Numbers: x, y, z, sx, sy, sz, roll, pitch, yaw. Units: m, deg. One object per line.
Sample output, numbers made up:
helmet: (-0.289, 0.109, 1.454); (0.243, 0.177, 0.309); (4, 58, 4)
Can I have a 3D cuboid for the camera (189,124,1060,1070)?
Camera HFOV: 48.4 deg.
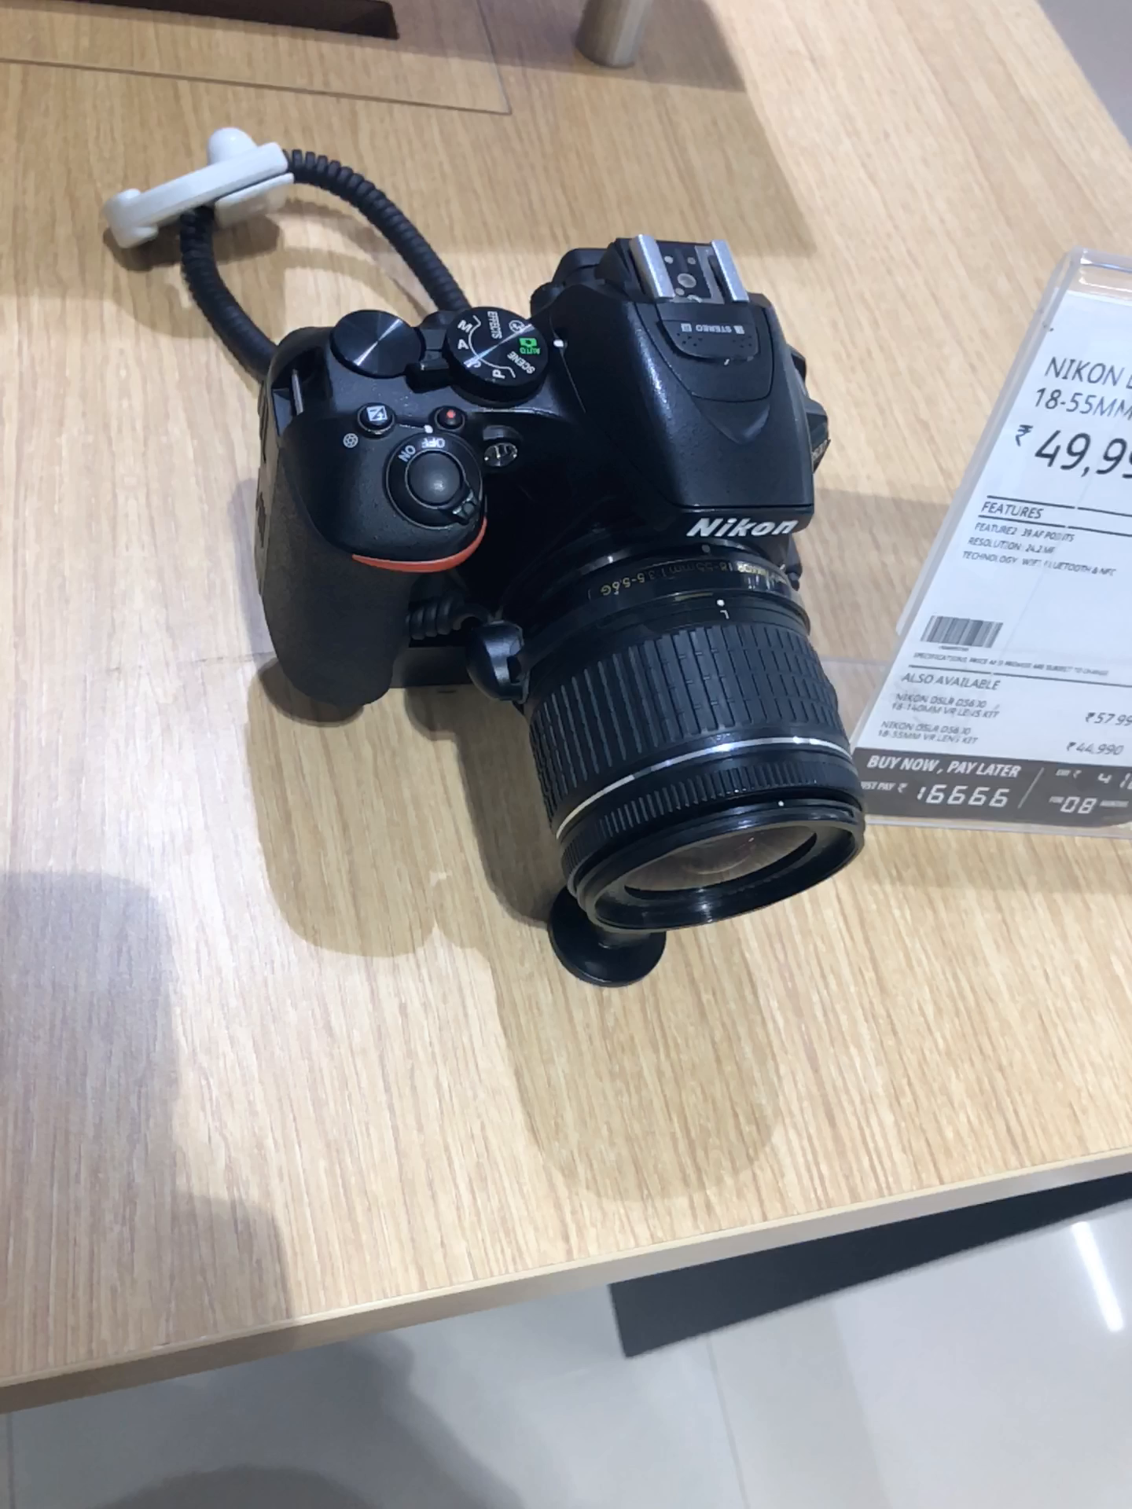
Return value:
camera: (-0.006, -0.034, 0.274); (0.130, 0.099, 0.160); (-5, 62, -20)
